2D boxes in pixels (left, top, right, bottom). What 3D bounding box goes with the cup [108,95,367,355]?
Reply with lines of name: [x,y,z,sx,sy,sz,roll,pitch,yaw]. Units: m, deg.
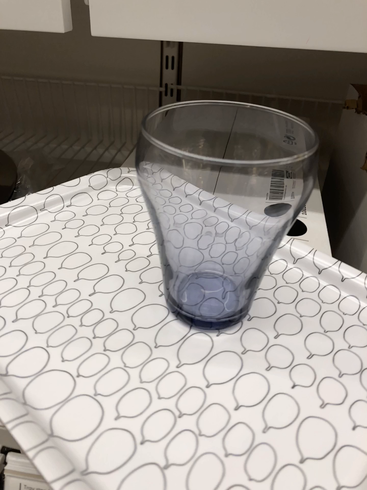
cup: [0.015,-0.018,0.193,0.080,0.080,0.090,-8,34,-18]
